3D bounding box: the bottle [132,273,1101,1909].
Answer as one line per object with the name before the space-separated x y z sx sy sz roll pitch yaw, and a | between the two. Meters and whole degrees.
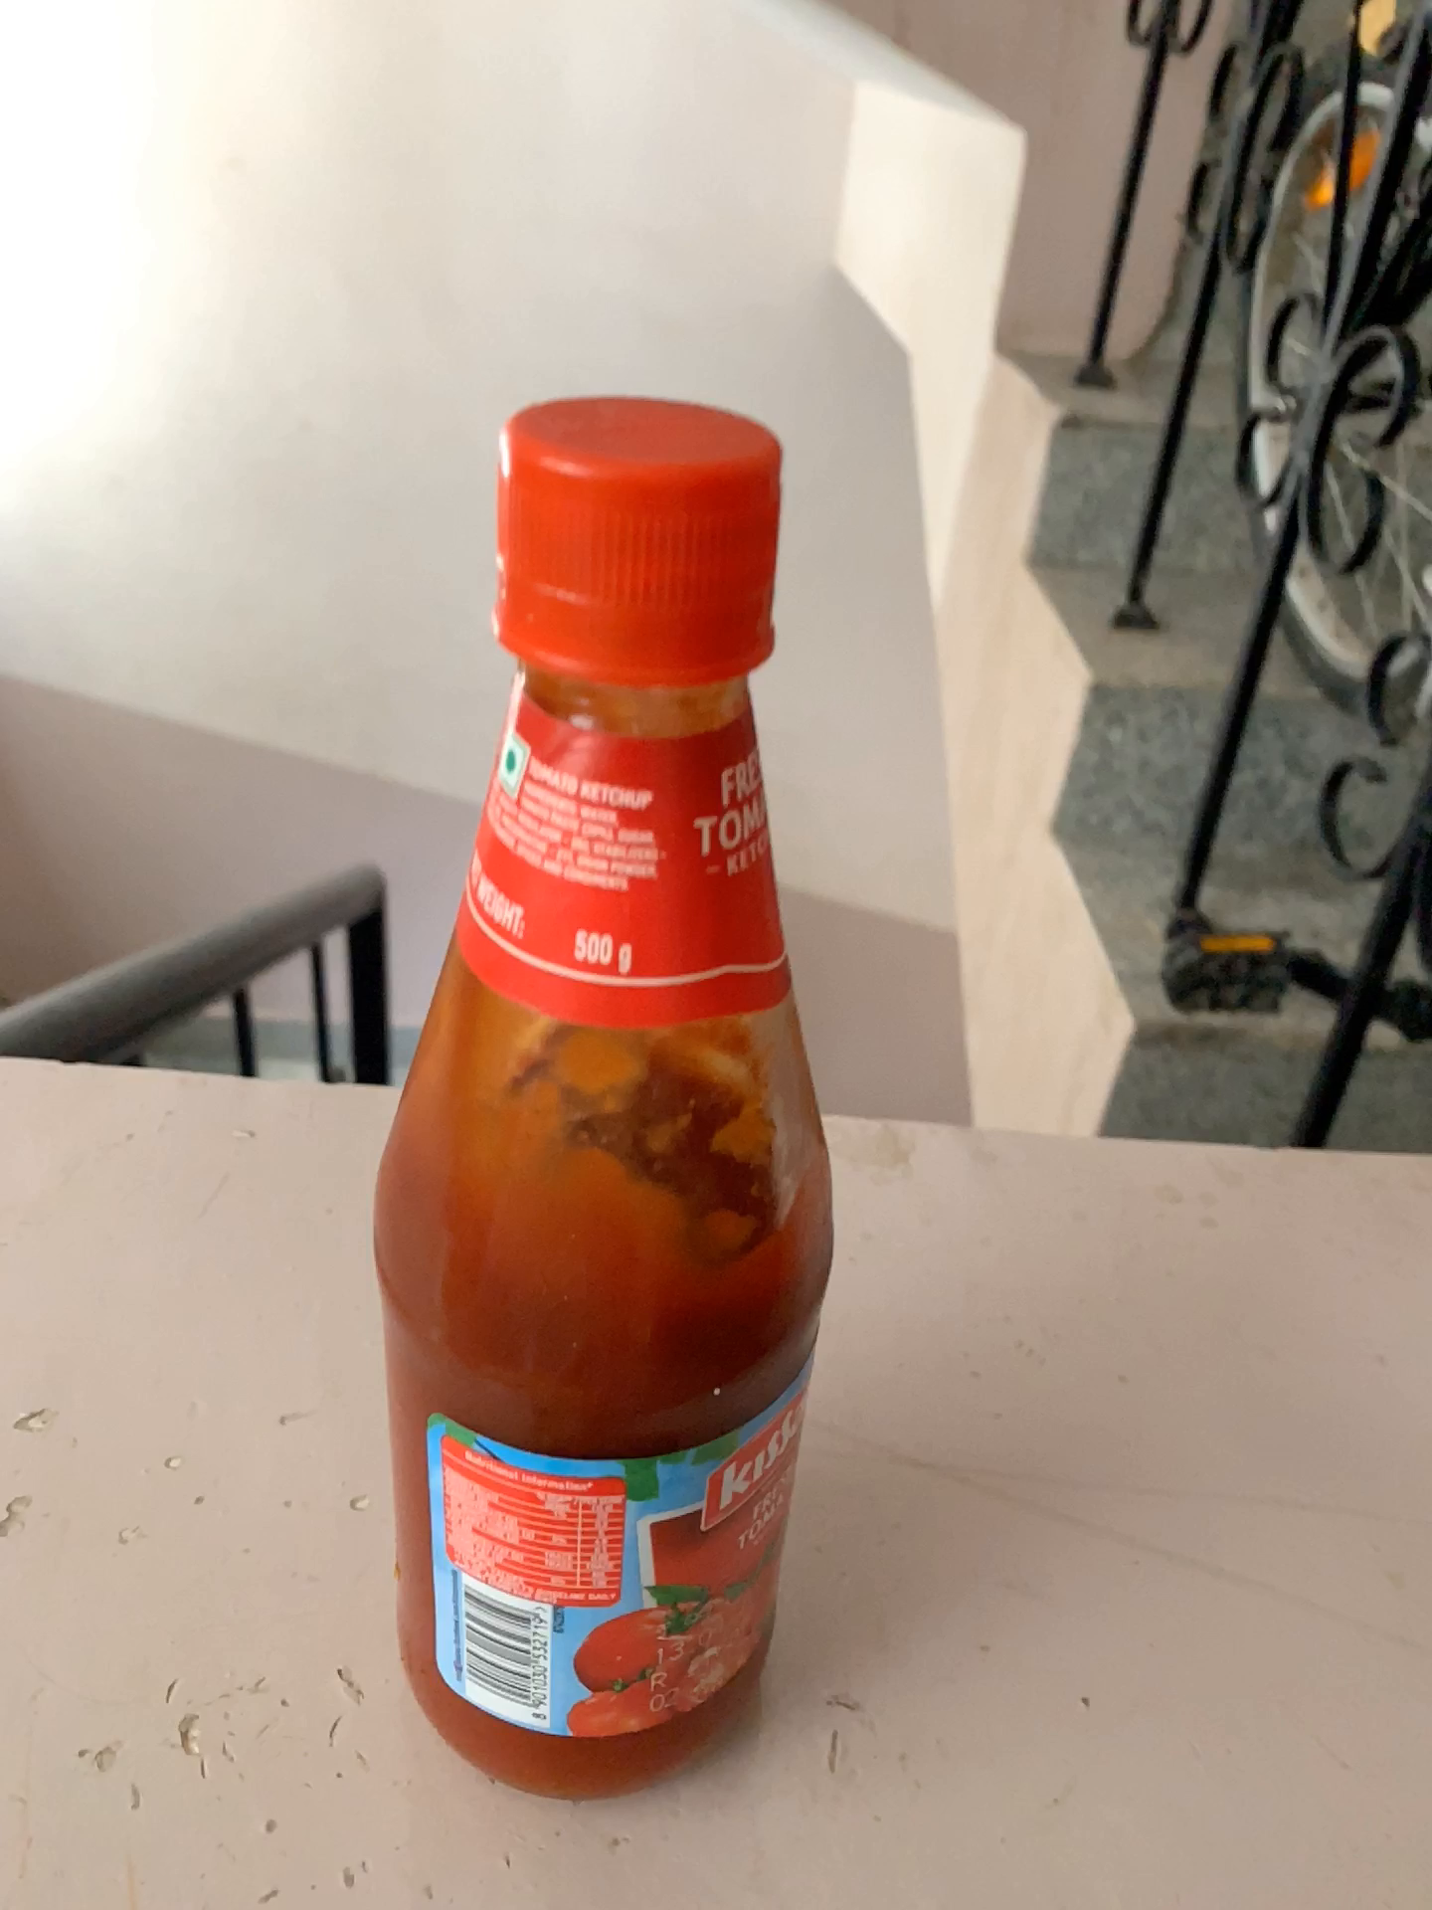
bottle | -0.015 0.032 0.207 0.070 0.218 0.070 4 32 -2
